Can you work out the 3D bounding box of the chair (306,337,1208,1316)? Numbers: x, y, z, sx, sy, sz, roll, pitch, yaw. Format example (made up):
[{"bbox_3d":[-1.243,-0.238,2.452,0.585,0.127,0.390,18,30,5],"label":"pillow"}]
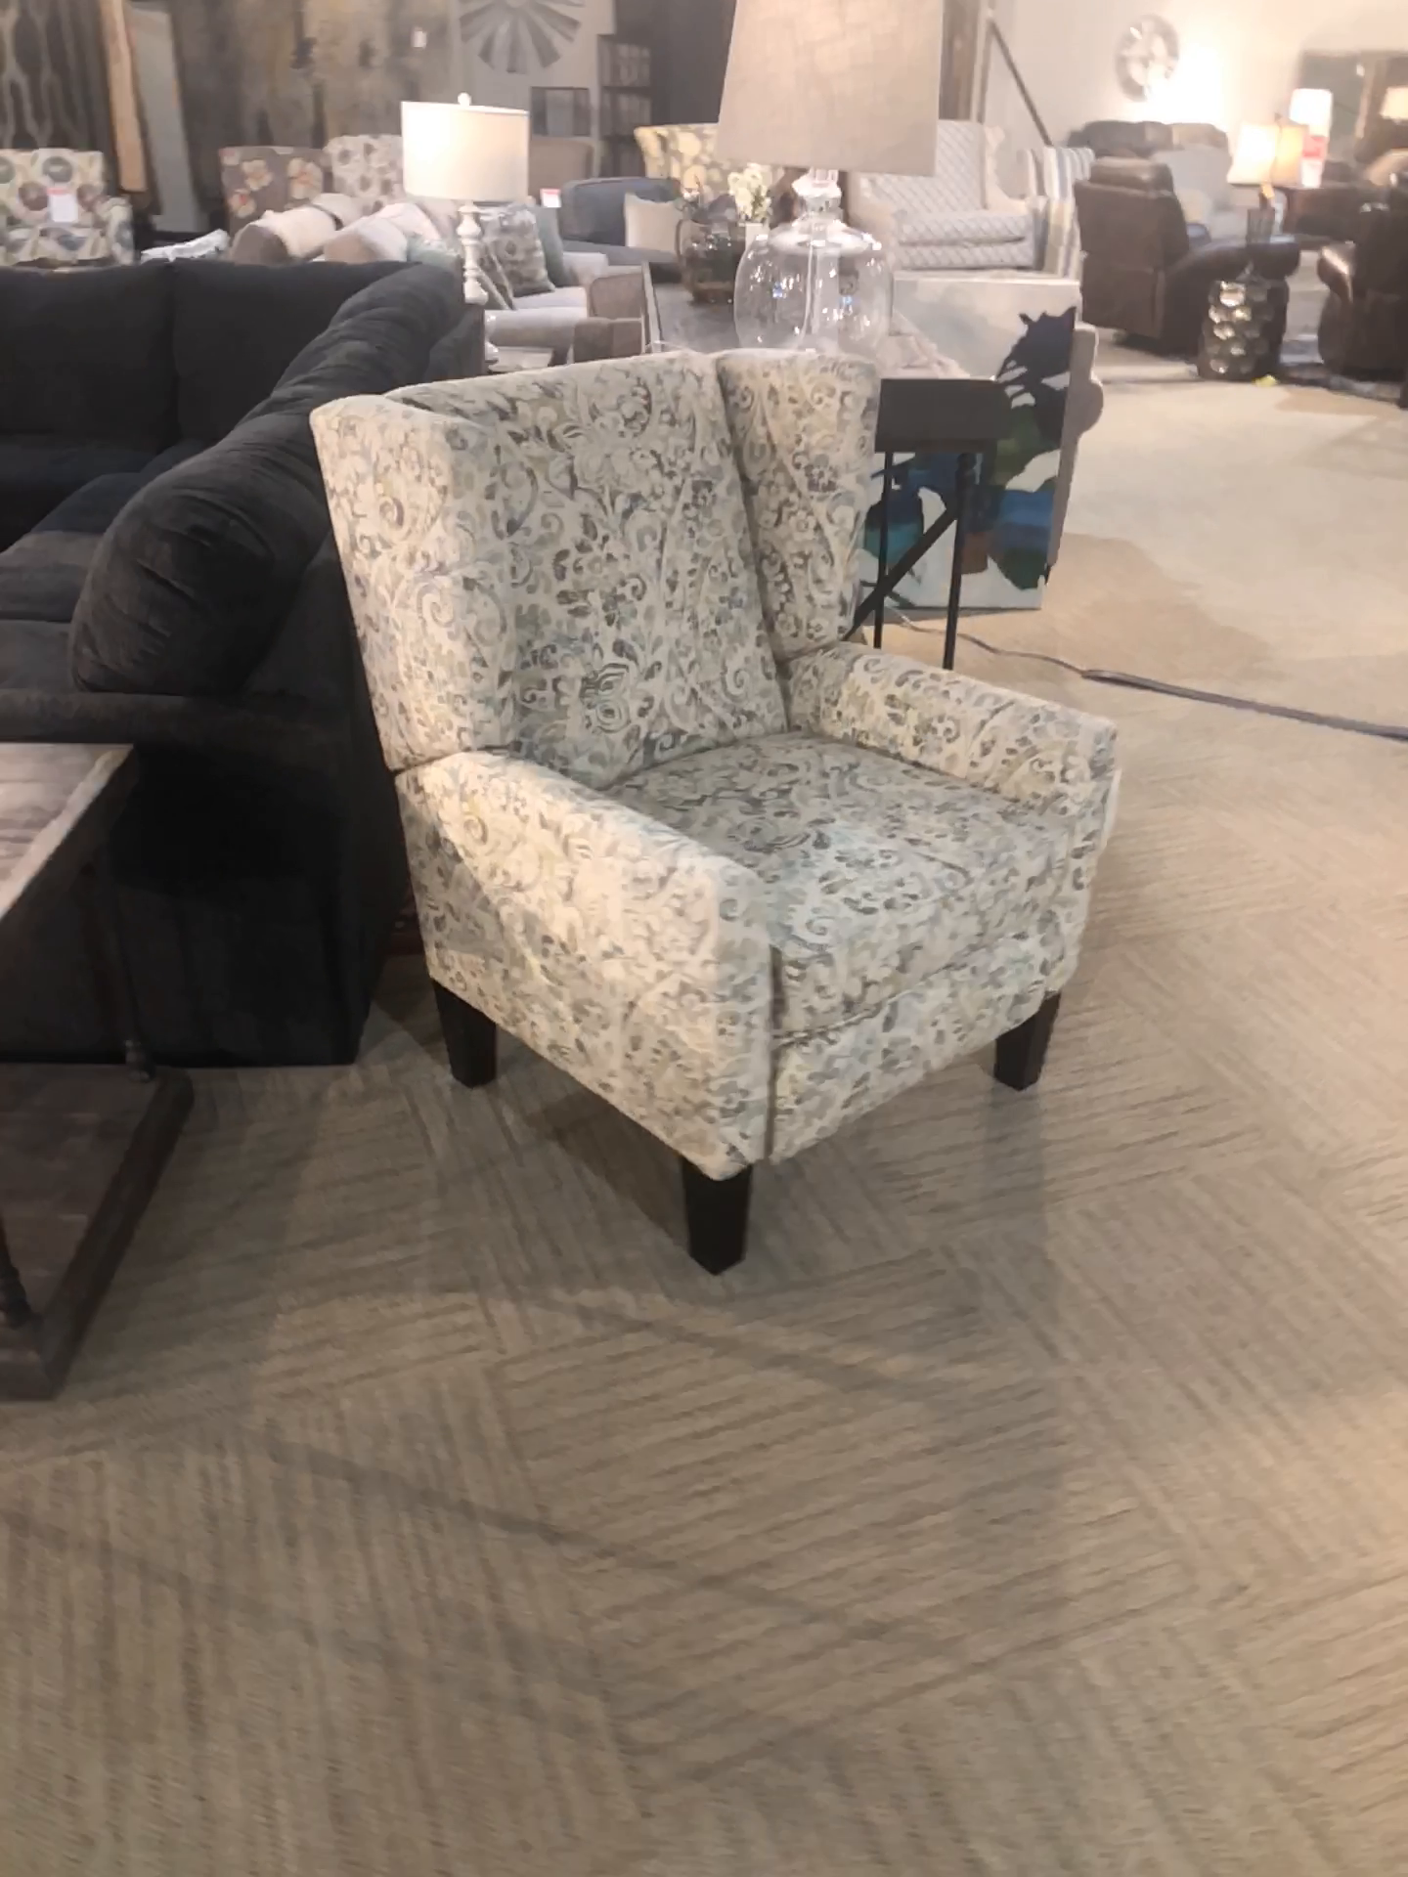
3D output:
[{"bbox_3d":[0.048,-0.238,2.137,0.782,0.975,0.802,-22,36,-35],"label":"chair"}]
